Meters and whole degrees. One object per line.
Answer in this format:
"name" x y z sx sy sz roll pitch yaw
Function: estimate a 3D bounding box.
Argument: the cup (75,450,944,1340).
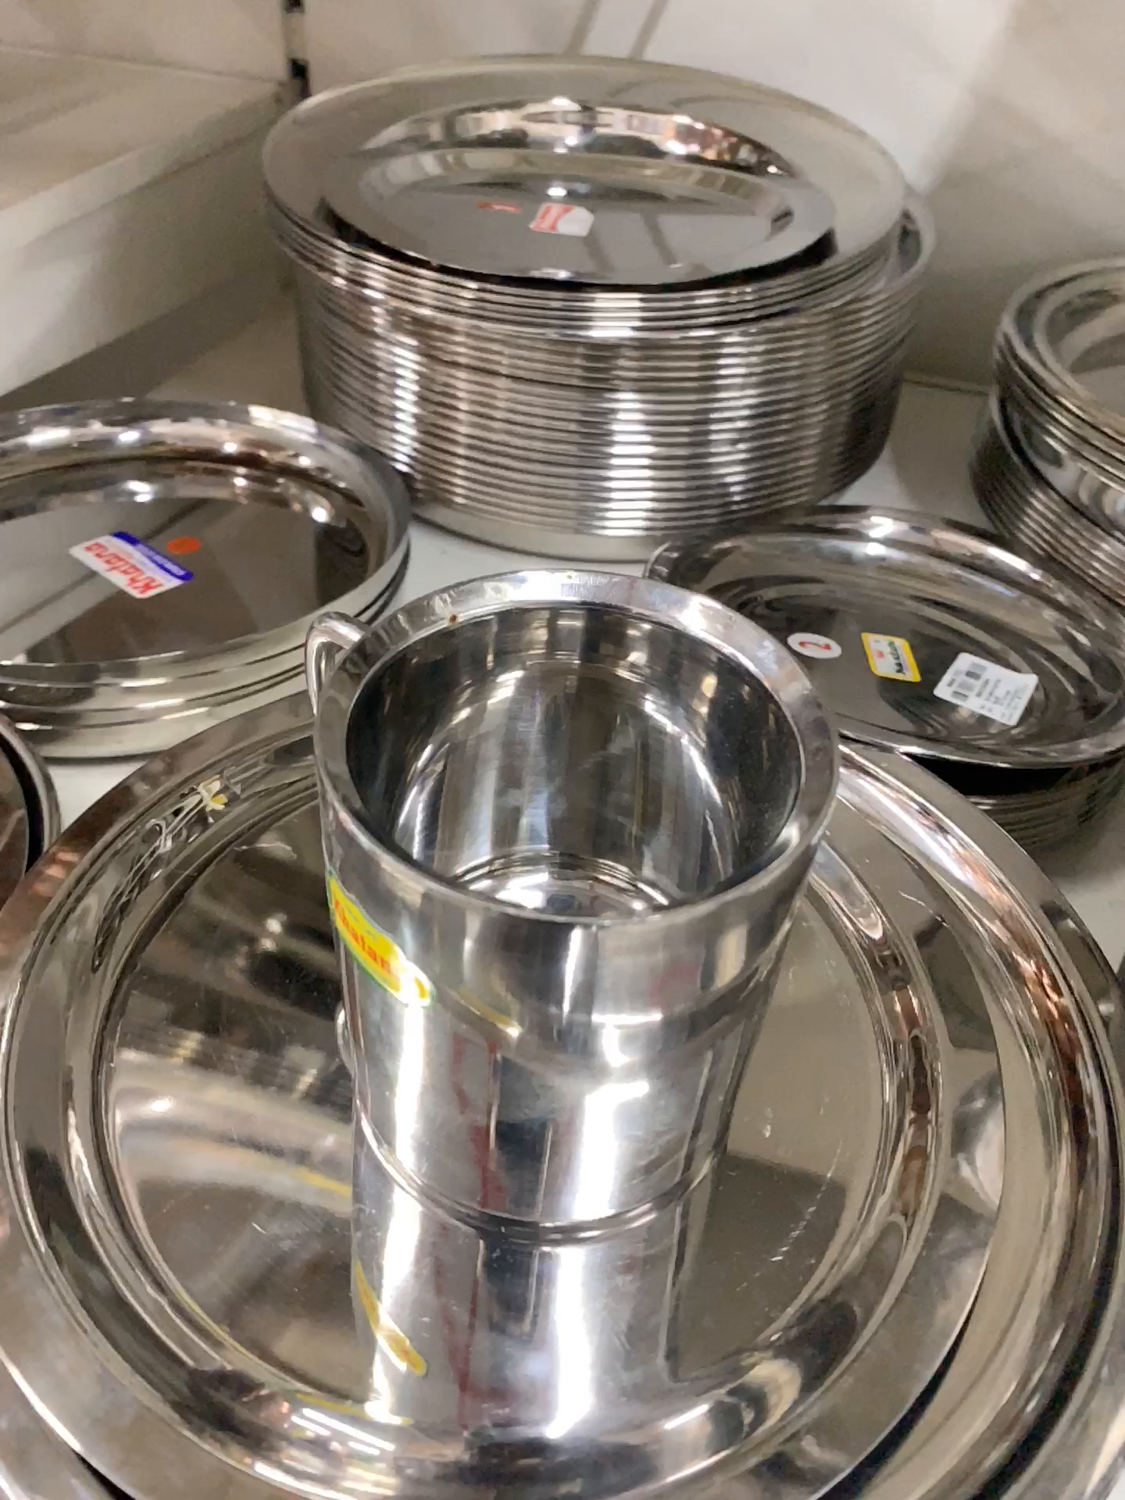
"cup" -0.011 0.018 0.211 0.110 0.090 0.080 31 48 28
